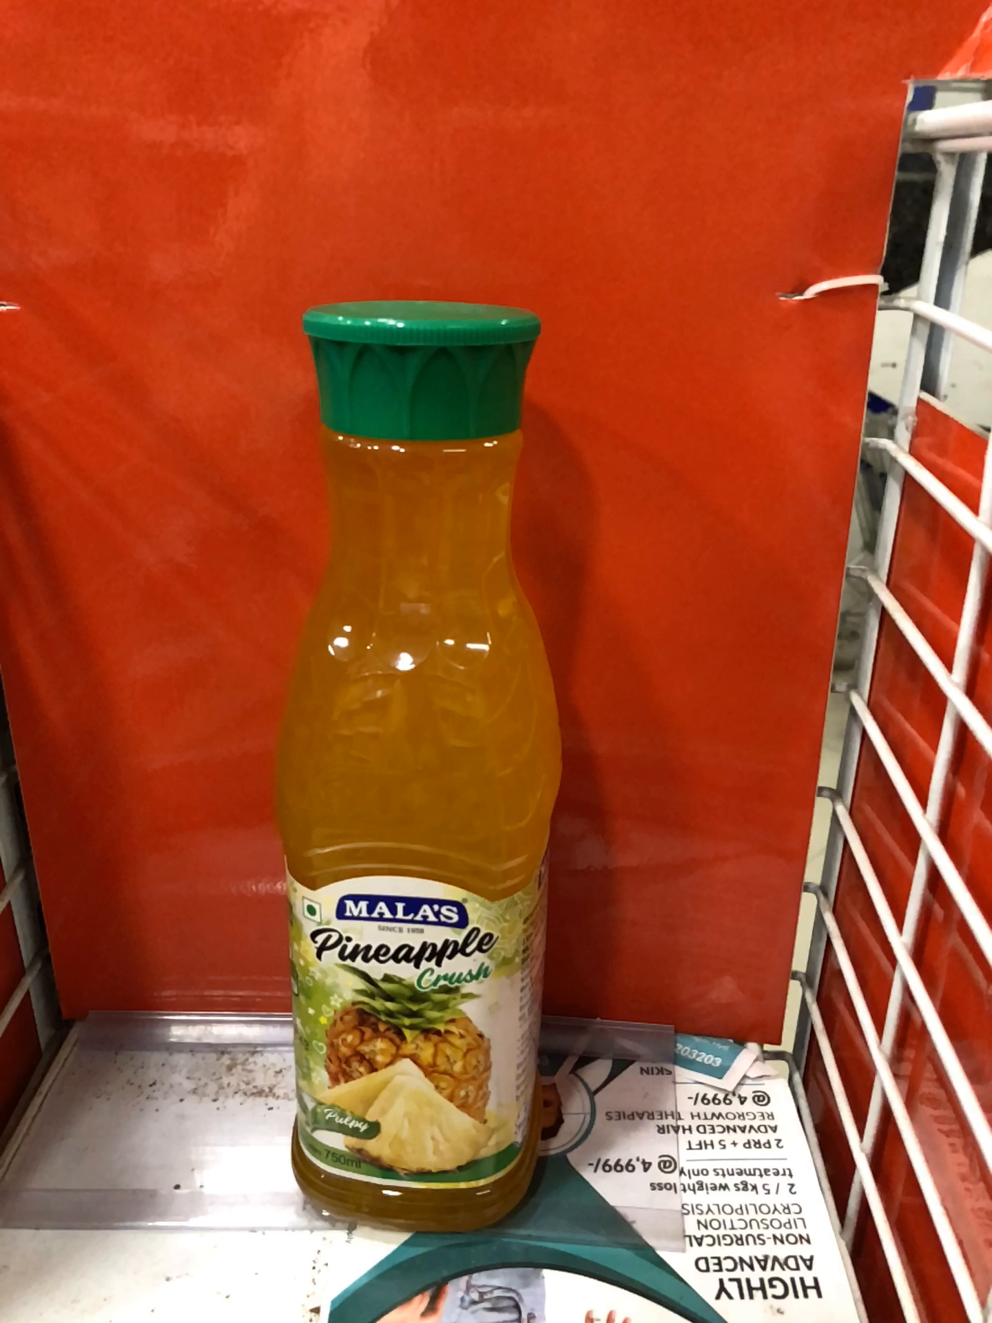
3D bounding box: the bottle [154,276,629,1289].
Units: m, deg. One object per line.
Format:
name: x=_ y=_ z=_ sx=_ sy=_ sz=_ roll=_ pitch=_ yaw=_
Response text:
bottle: x=-0.017 y=0.039 z=0.289 sx=0.090 sy=0.258 sz=0.070 roll=3 pitch=24 yaw=5
